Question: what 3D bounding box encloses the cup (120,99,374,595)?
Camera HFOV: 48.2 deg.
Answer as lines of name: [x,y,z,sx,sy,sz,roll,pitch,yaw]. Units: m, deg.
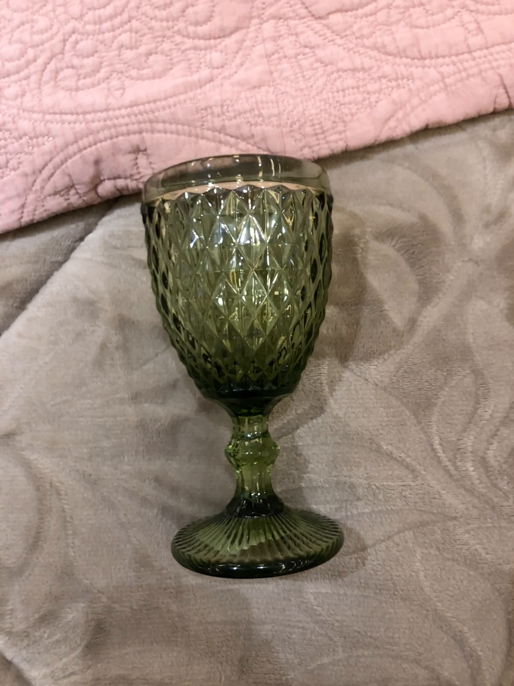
cup: [-0.004,0.002,0.266,0.090,0.080,0.190,-4,85,4]
